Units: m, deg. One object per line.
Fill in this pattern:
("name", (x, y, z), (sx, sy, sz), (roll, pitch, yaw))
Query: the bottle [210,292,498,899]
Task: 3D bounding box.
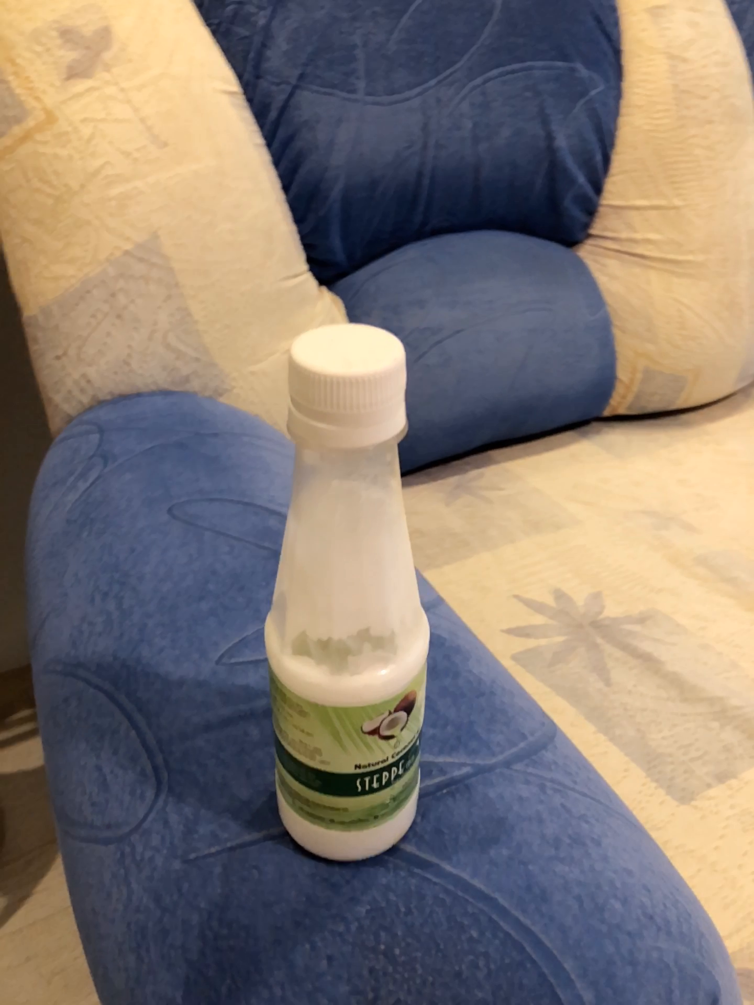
("bottle", (-0.009, 0.036, 0.259), (0.050, 0.183, 0.054), (1, 33, -1))
